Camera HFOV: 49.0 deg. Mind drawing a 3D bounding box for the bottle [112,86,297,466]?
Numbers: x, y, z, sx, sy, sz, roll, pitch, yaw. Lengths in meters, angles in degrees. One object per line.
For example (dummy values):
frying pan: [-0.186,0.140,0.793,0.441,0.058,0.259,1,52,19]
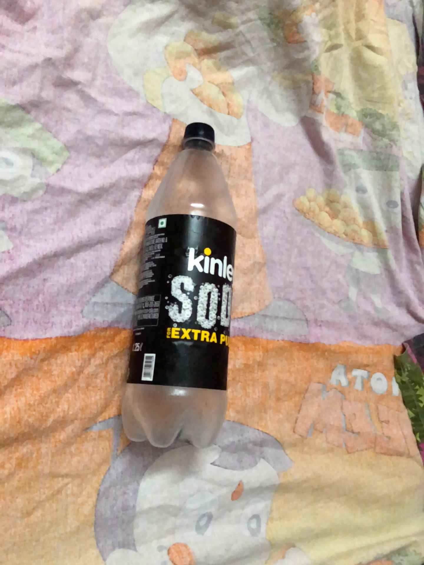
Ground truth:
bottle: [-0.001,-0.005,0.394,0.090,0.080,0.280,18,76,-47]
